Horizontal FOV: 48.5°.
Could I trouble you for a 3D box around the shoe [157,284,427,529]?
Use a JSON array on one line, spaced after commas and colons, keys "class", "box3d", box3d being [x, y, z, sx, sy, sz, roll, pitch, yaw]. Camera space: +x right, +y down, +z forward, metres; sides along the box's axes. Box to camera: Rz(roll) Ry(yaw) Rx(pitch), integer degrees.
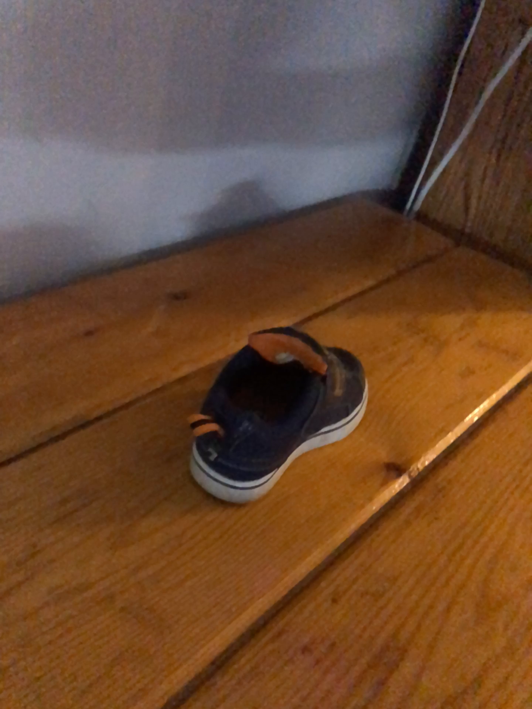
[{"class": "shoe", "box3d": [0.020, 0.023, 0.371, 0.070, 0.070, 0.160, 36, 42, 28]}]
